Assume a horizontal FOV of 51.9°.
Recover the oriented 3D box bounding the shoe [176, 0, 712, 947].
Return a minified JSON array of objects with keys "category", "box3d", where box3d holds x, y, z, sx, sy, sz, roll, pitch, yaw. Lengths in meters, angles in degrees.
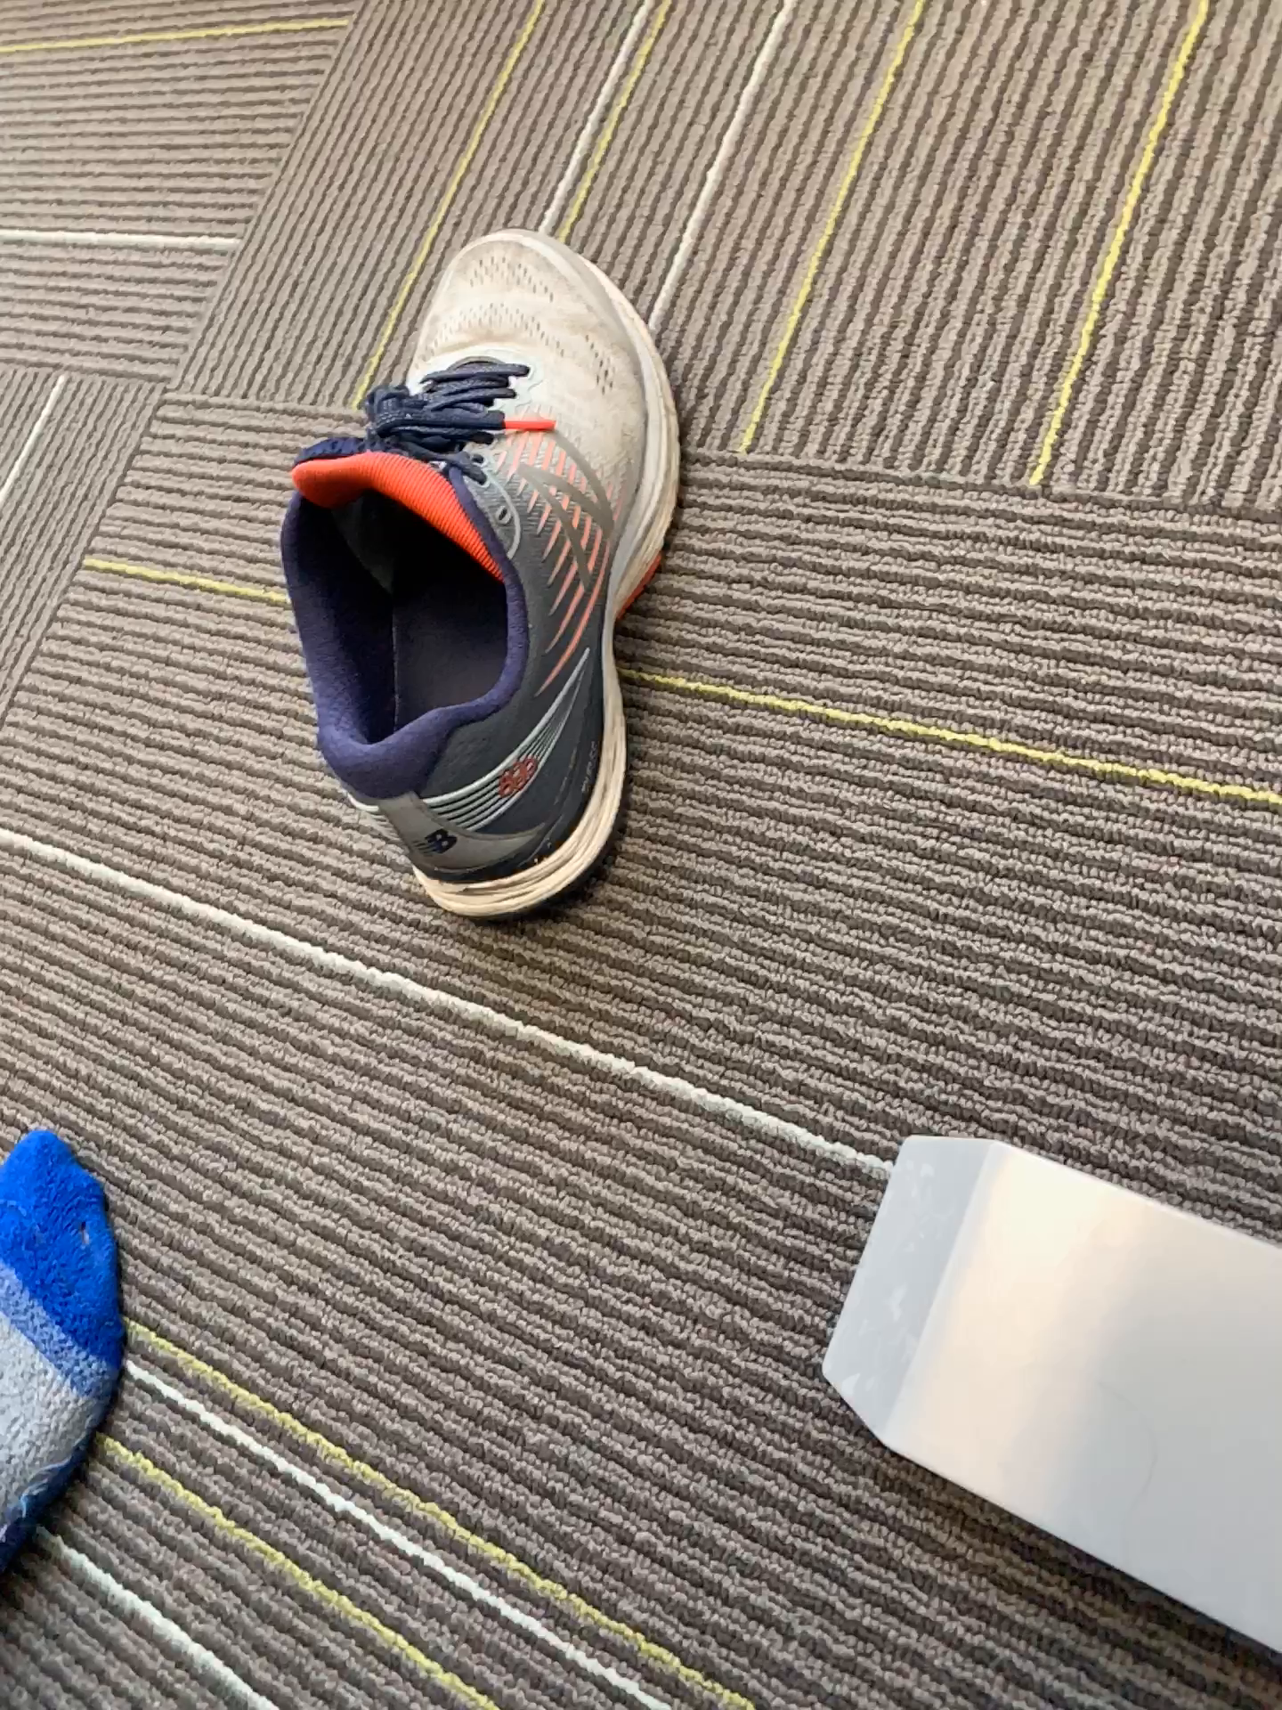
[{"category":"shoe","box3d":[-0.055,-0.128,0.466,0.110,0.109,0.300,-3,70,24]}]
